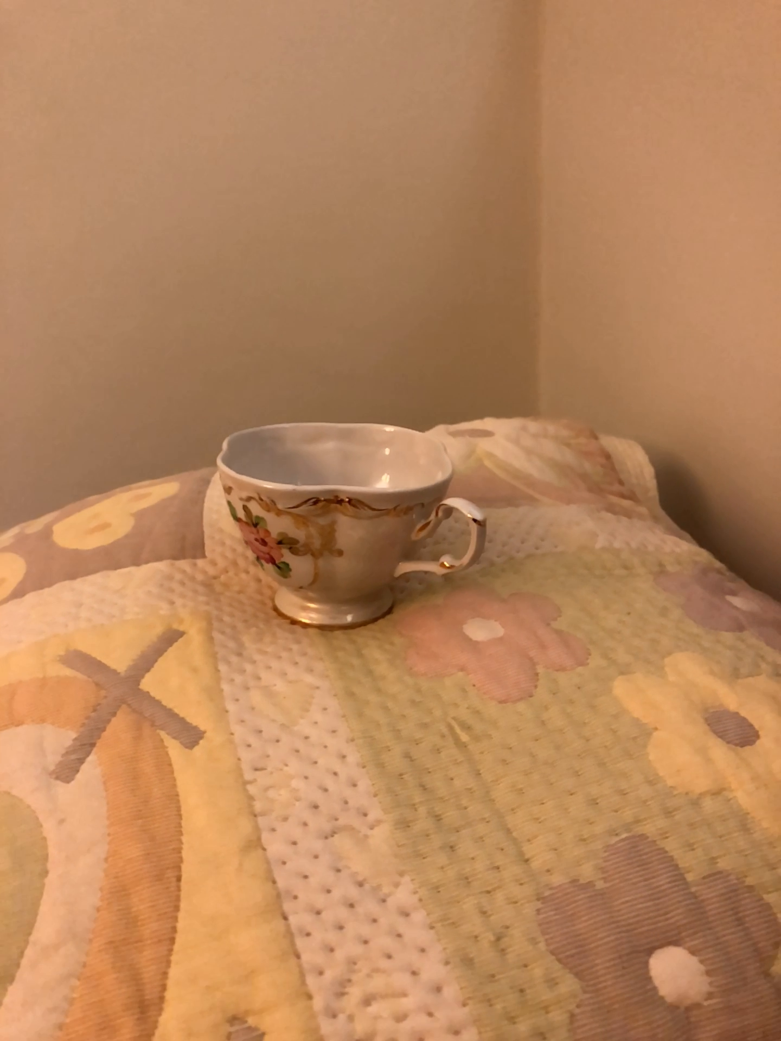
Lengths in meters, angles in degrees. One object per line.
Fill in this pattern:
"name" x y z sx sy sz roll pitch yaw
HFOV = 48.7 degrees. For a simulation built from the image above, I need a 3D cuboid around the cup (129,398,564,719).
"cup" -0.019 0.003 0.352 0.140 0.070 0.100 17 25 35
